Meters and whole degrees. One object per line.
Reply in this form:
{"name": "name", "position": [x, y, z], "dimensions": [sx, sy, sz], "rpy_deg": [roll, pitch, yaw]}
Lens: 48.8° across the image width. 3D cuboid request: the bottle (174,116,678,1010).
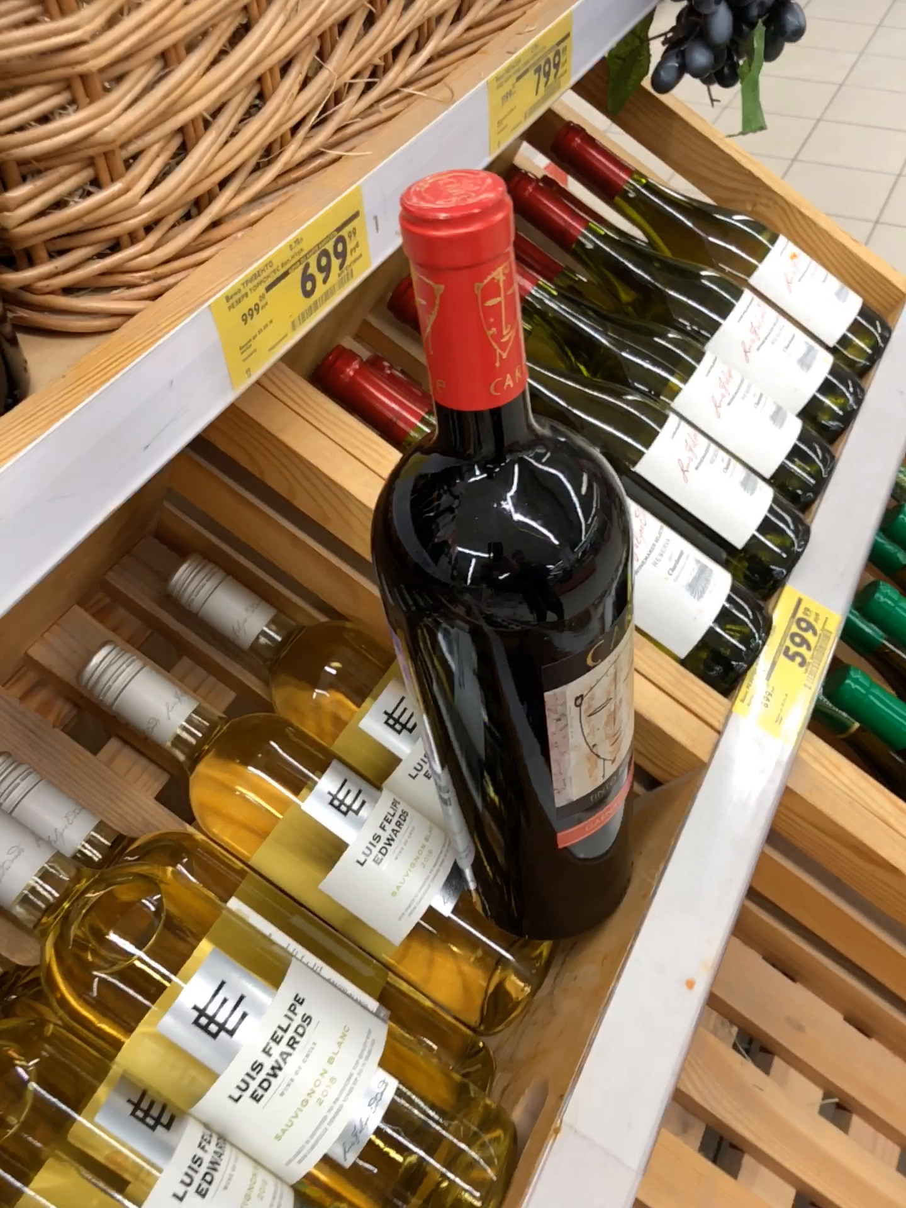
{"name": "bottle", "position": [0.018, 0.017, 0.395], "dimensions": [0.100, 0.358, 0.100], "rpy_deg": [-6, 44, 5]}
